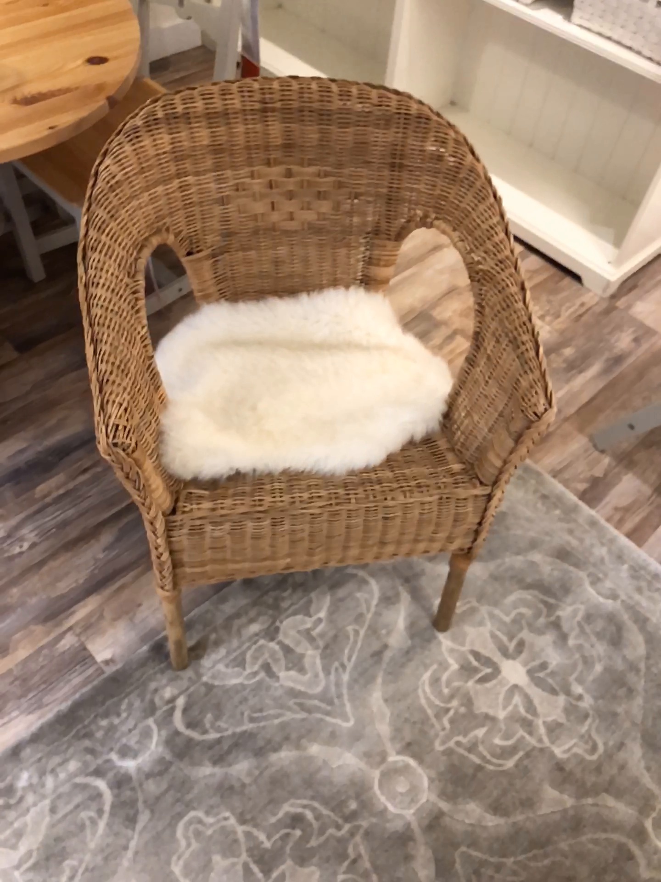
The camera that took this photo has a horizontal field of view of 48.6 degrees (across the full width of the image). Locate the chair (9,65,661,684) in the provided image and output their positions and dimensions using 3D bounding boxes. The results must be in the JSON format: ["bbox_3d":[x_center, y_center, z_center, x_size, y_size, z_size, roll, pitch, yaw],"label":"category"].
[{"bbox_3d":[-0.041,-0.088,1.178,0.650,0.718,0.632,-4,52,-9],"label":"chair"}]
